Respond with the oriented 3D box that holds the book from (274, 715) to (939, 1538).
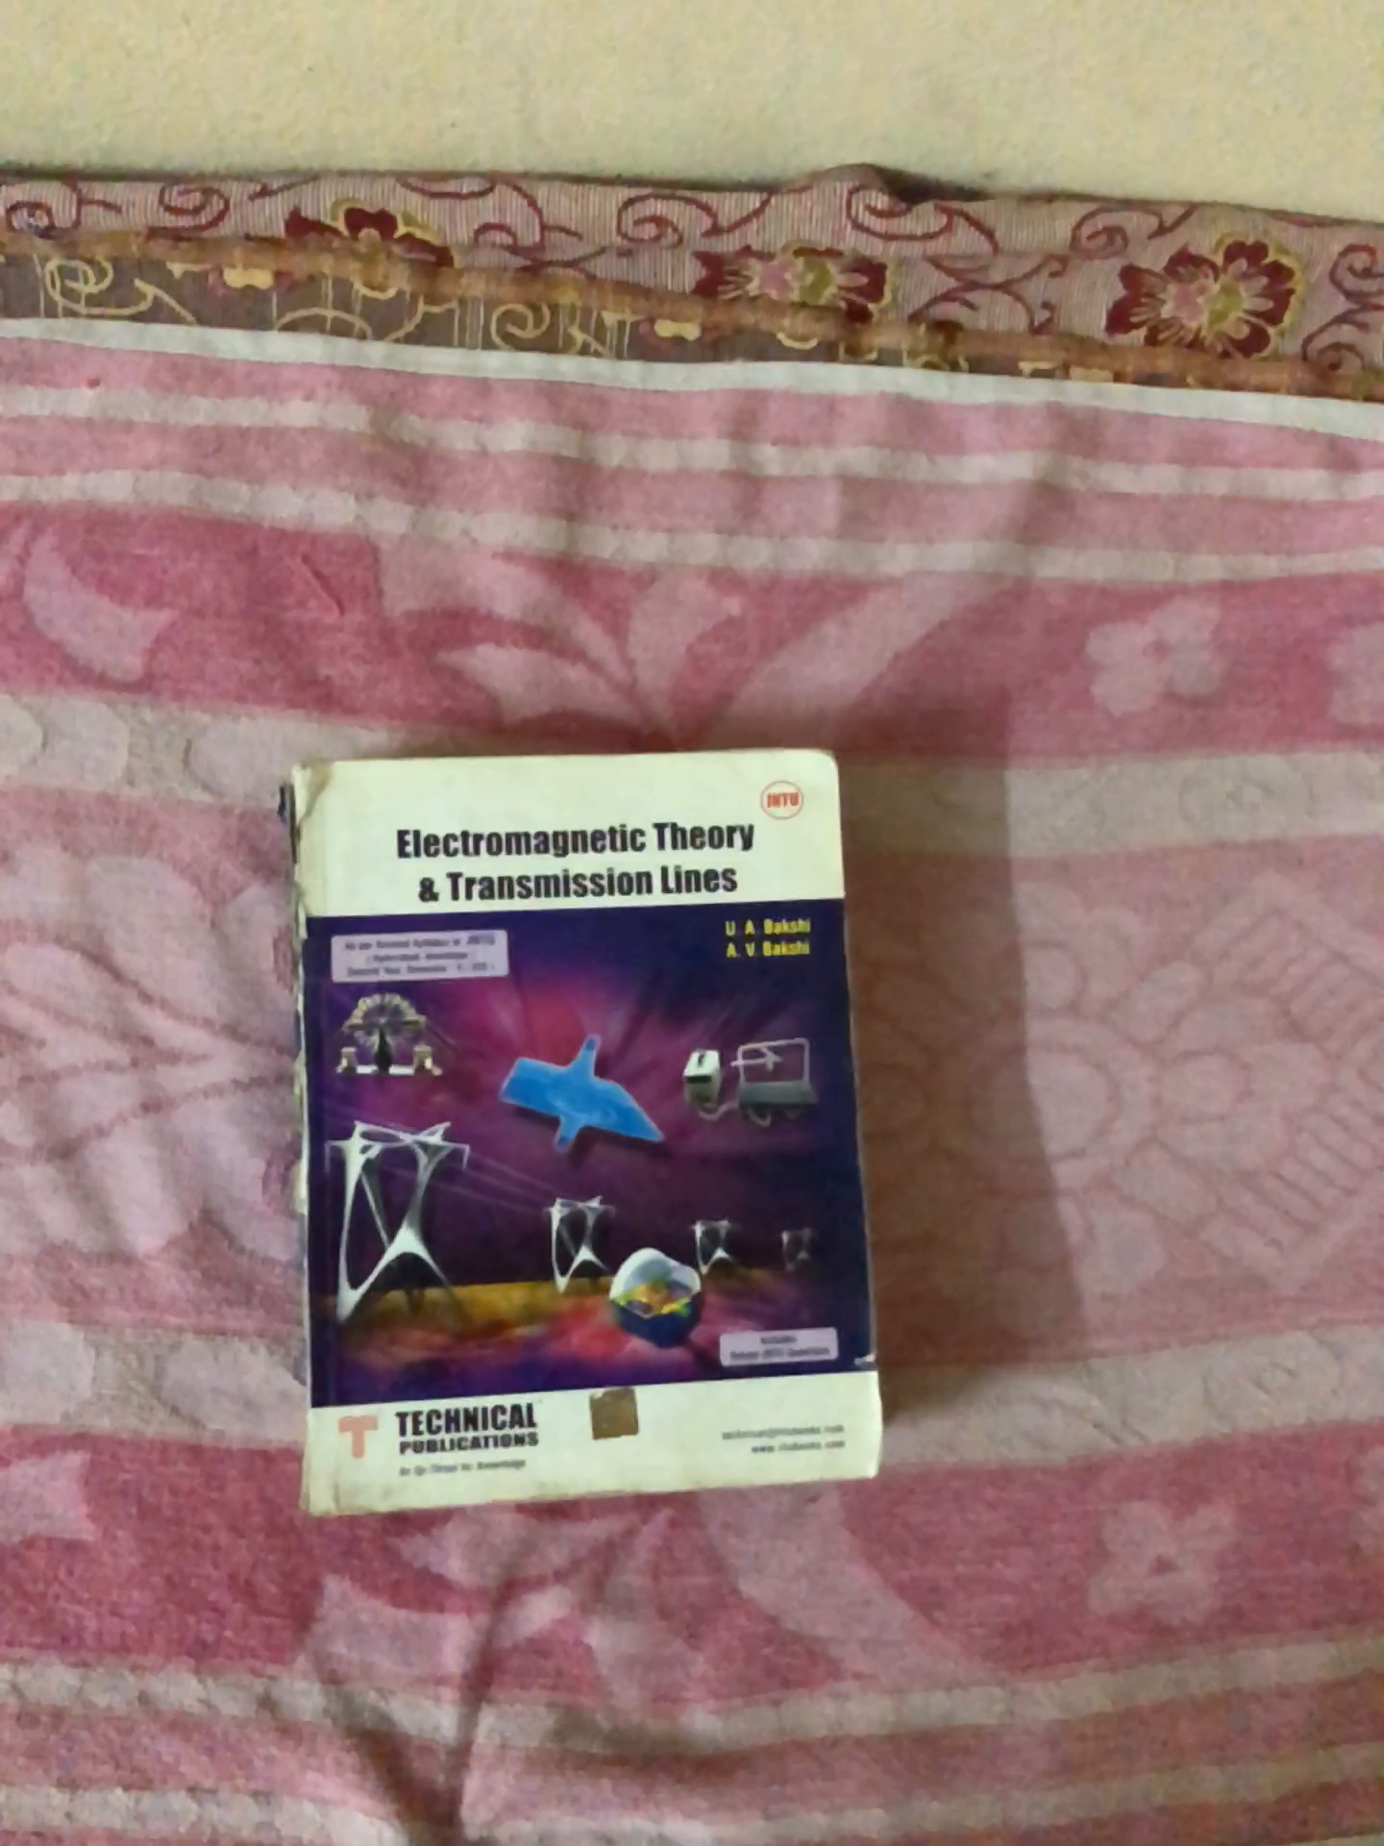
[{"bbox_3d":[-0.032,0.063,0.520,0.200,0.060,0.250,-3,81,-4],"label":"book"}]
